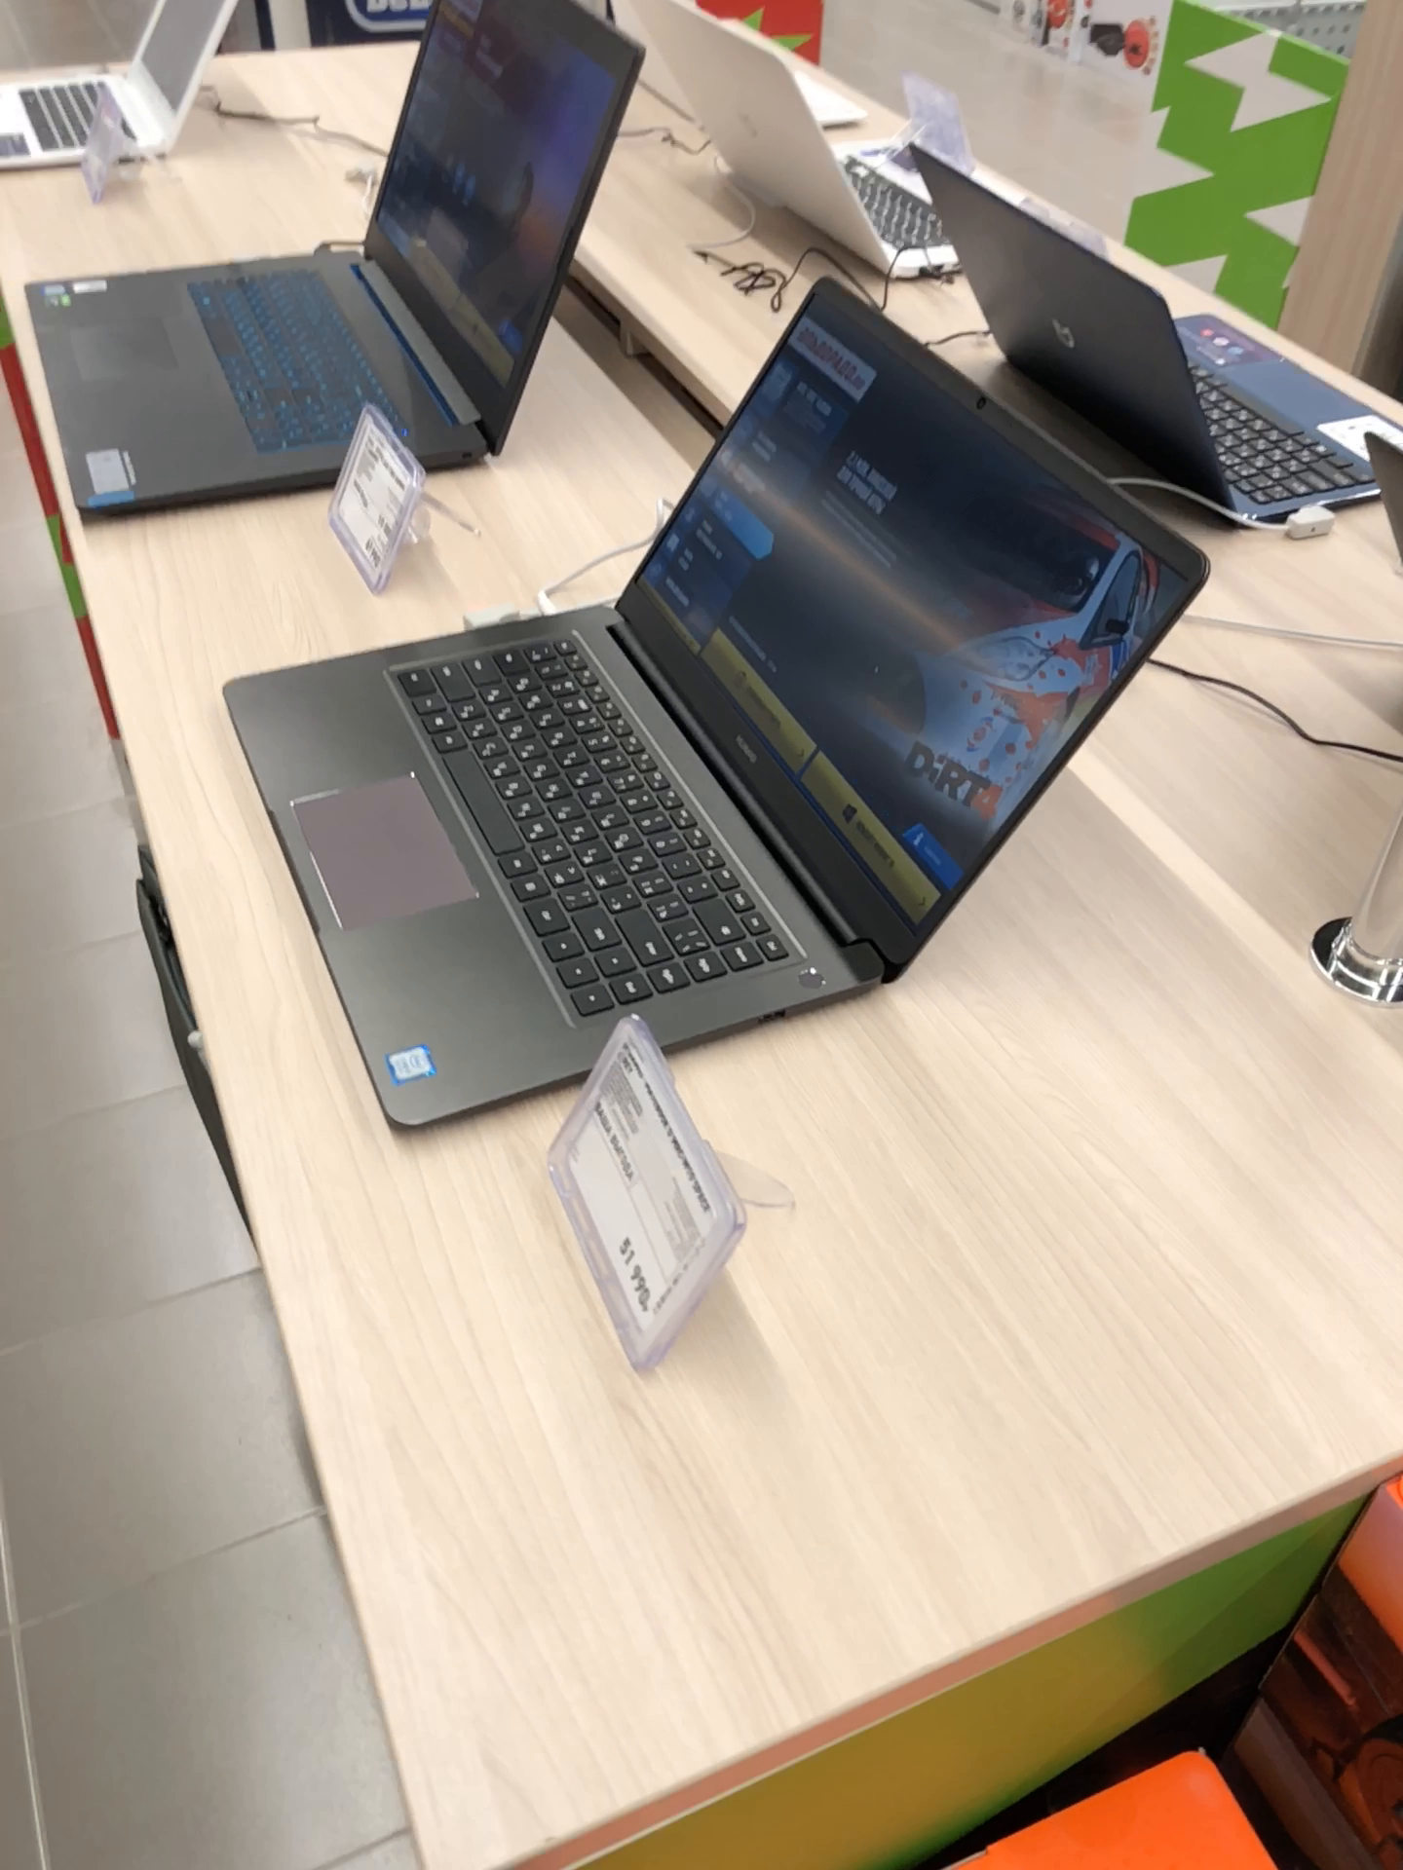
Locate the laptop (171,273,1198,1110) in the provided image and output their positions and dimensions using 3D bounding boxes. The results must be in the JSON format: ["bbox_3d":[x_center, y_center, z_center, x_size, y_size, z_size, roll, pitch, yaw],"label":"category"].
[{"bbox_3d":[-0.030,-0.150,0.755,0.358,0.180,0.346,-16,45,-19],"label":"laptop"}]

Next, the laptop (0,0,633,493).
[{"bbox_3d":[-0.298,-0.547,1.123,0.378,0.242,0.393,-14,45,-17],"label":"laptop"}]
